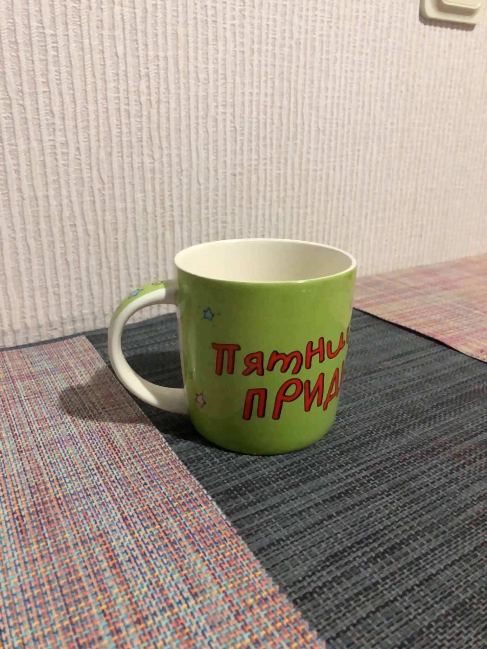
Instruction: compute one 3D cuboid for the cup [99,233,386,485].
[{"bbox_3d":[-0.008,0.007,0.265,0.115,0.084,0.090,-5,21,-14],"label":"cup"}]
